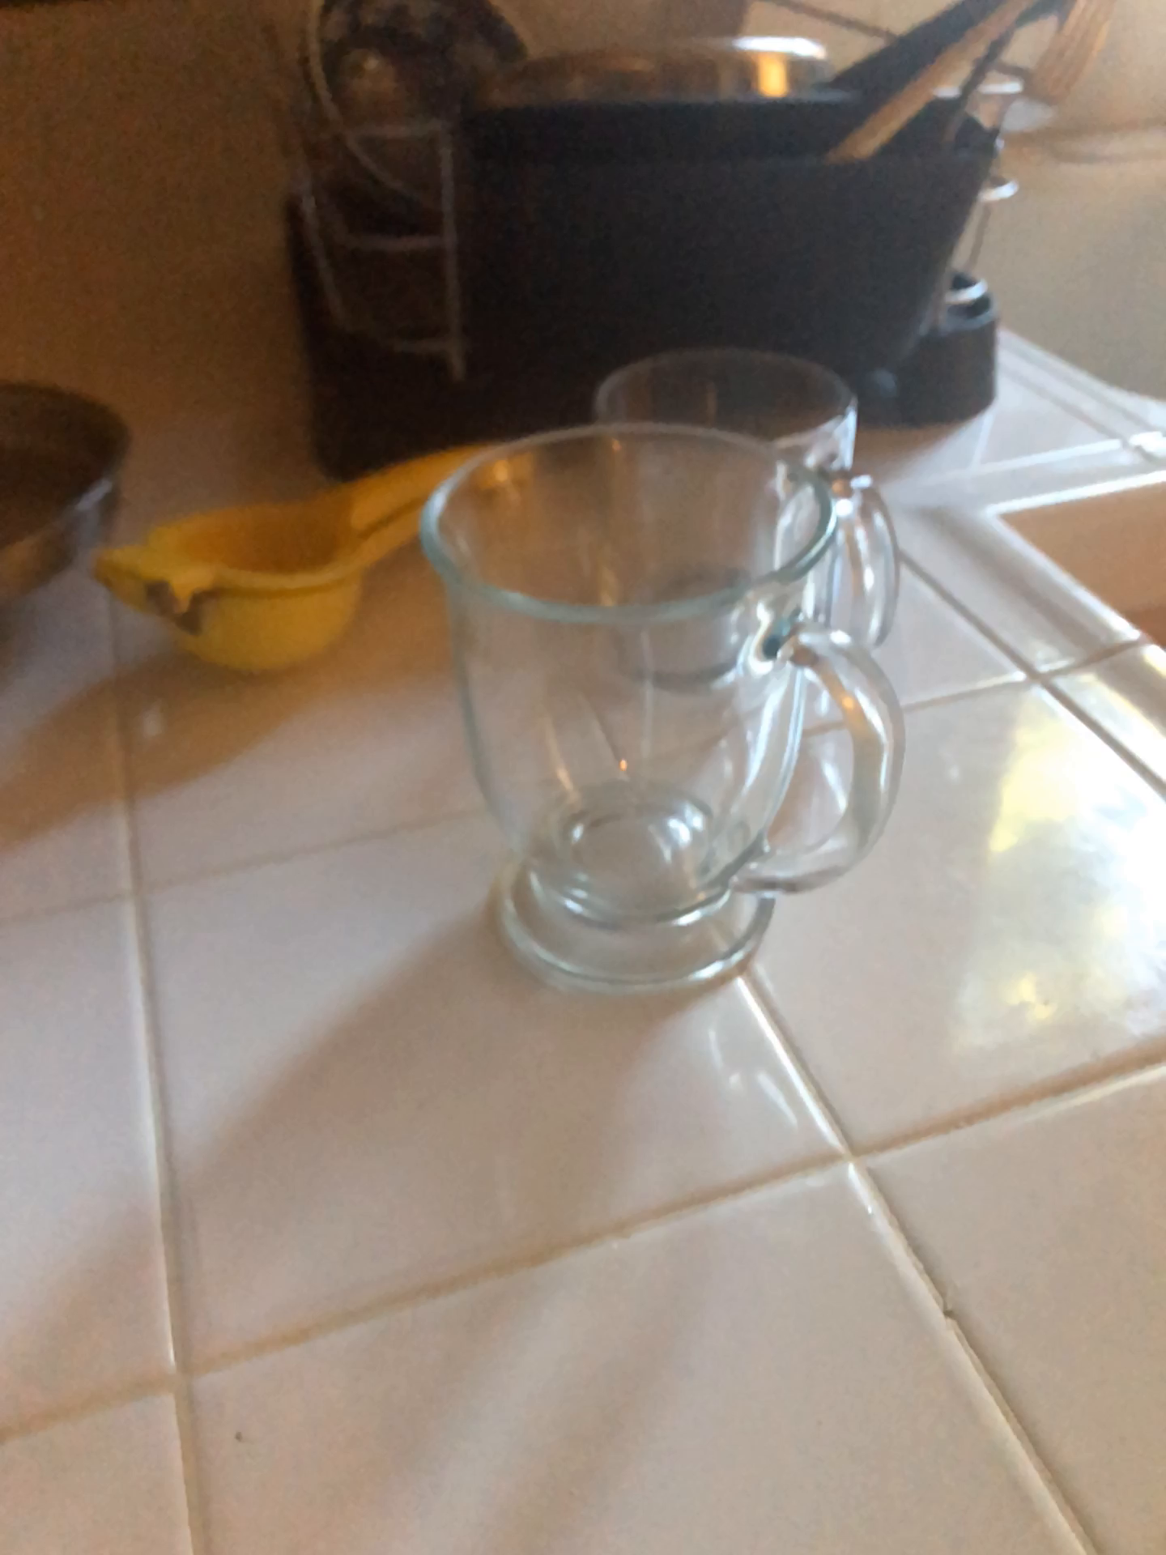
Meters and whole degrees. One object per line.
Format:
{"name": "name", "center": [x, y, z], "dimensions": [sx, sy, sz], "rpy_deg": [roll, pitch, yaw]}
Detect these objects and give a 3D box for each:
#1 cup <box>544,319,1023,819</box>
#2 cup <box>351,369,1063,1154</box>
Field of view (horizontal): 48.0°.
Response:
{"name": "cup", "center": [0.062, -0.076, 0.445], "dimensions": [0.090, 0.109, 0.120], "rpy_deg": [-29, 45, -30]}
{"name": "cup", "center": [0.030, -0.009, 0.333], "dimensions": [0.130, 0.139, 0.091], "rpy_deg": [21, 43, 28]}
